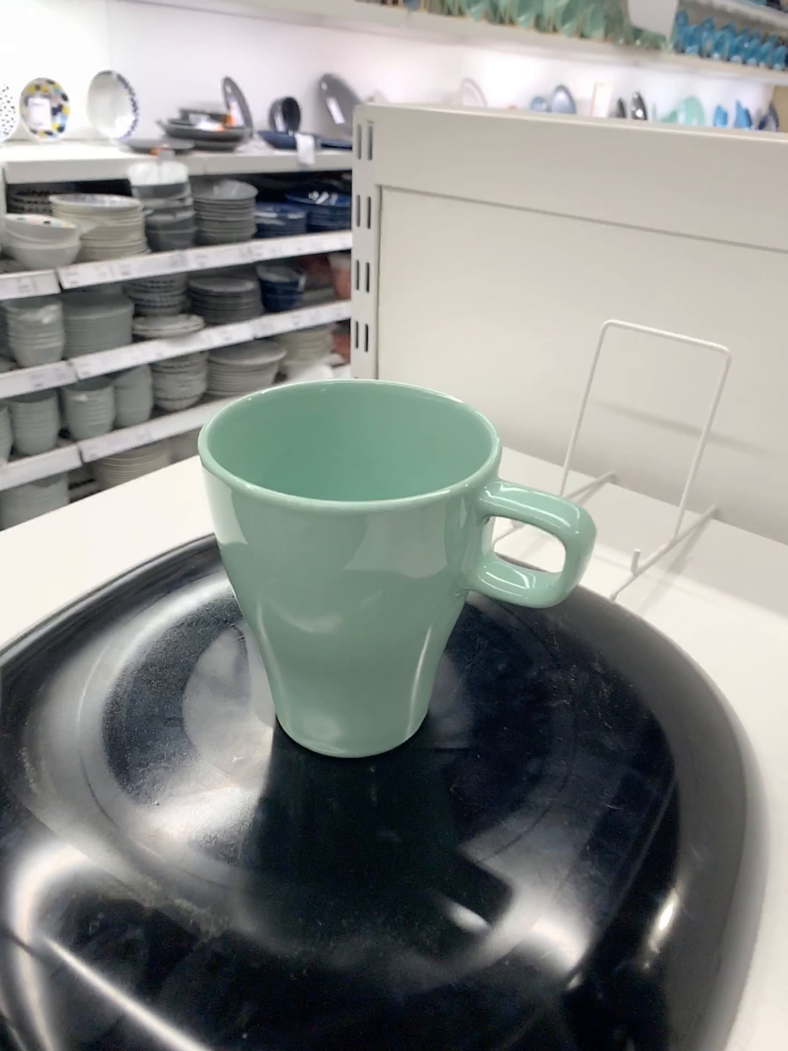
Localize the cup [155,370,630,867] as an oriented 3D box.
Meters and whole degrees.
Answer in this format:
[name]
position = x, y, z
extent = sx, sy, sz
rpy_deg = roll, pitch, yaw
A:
[cup]
position = 0.002, 0.021, 0.246
extent = 0.110, 0.100, 0.080
rpy_deg = 12, 29, 16
